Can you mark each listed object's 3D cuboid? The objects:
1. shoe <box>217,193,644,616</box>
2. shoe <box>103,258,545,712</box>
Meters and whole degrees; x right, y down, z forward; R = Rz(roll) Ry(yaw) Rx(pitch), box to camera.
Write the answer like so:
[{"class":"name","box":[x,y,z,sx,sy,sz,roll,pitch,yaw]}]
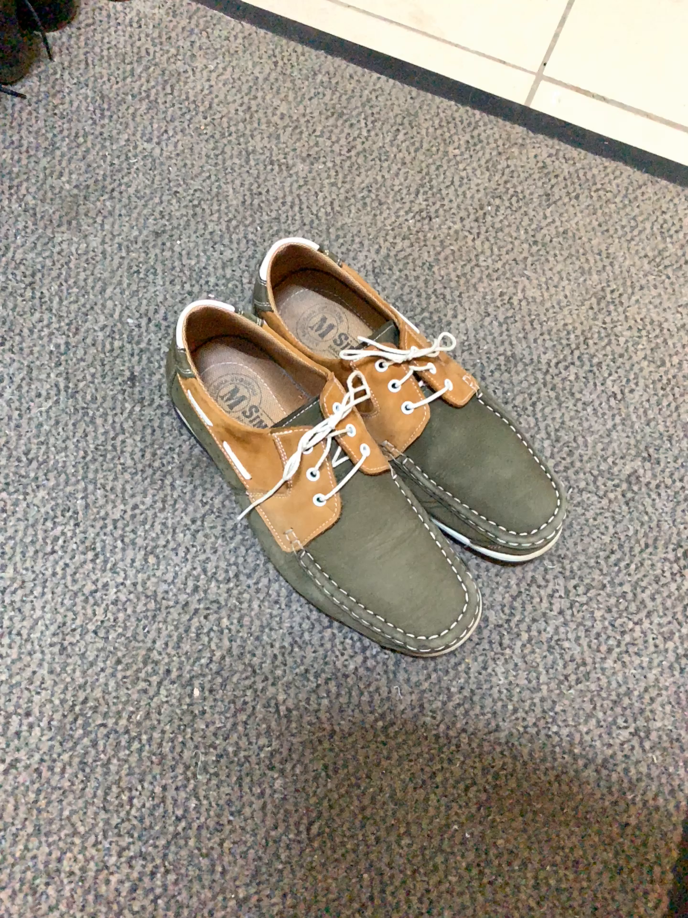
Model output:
[{"class":"shoe","box":[0.046,-0.034,0.503,0.107,0.130,0.270,-42,77,-17]},{"class":"shoe","box":[-0.021,0.022,0.470,0.107,0.130,0.270,-39,76,-17]}]
